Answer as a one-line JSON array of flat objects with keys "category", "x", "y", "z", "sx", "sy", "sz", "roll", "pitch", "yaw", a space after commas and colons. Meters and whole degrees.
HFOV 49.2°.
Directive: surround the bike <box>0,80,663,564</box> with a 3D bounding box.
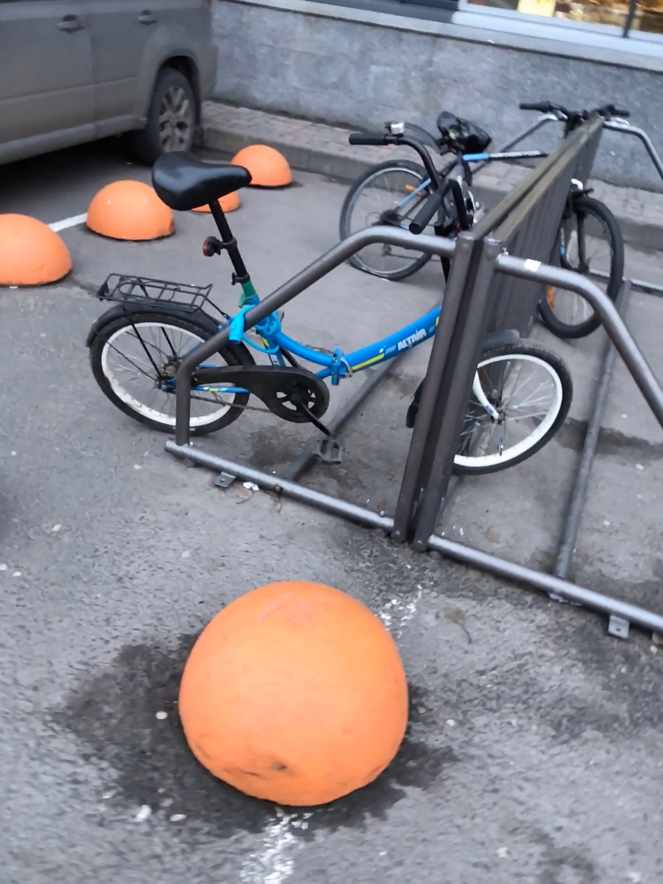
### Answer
[{"category": "bike", "x": 0.005, "y": -0.331, "z": 1.885, "sx": 1.420, "sy": 0.992, "sz": 0.727, "roll": 4, "pitch": 32, "yaw": 4}]
